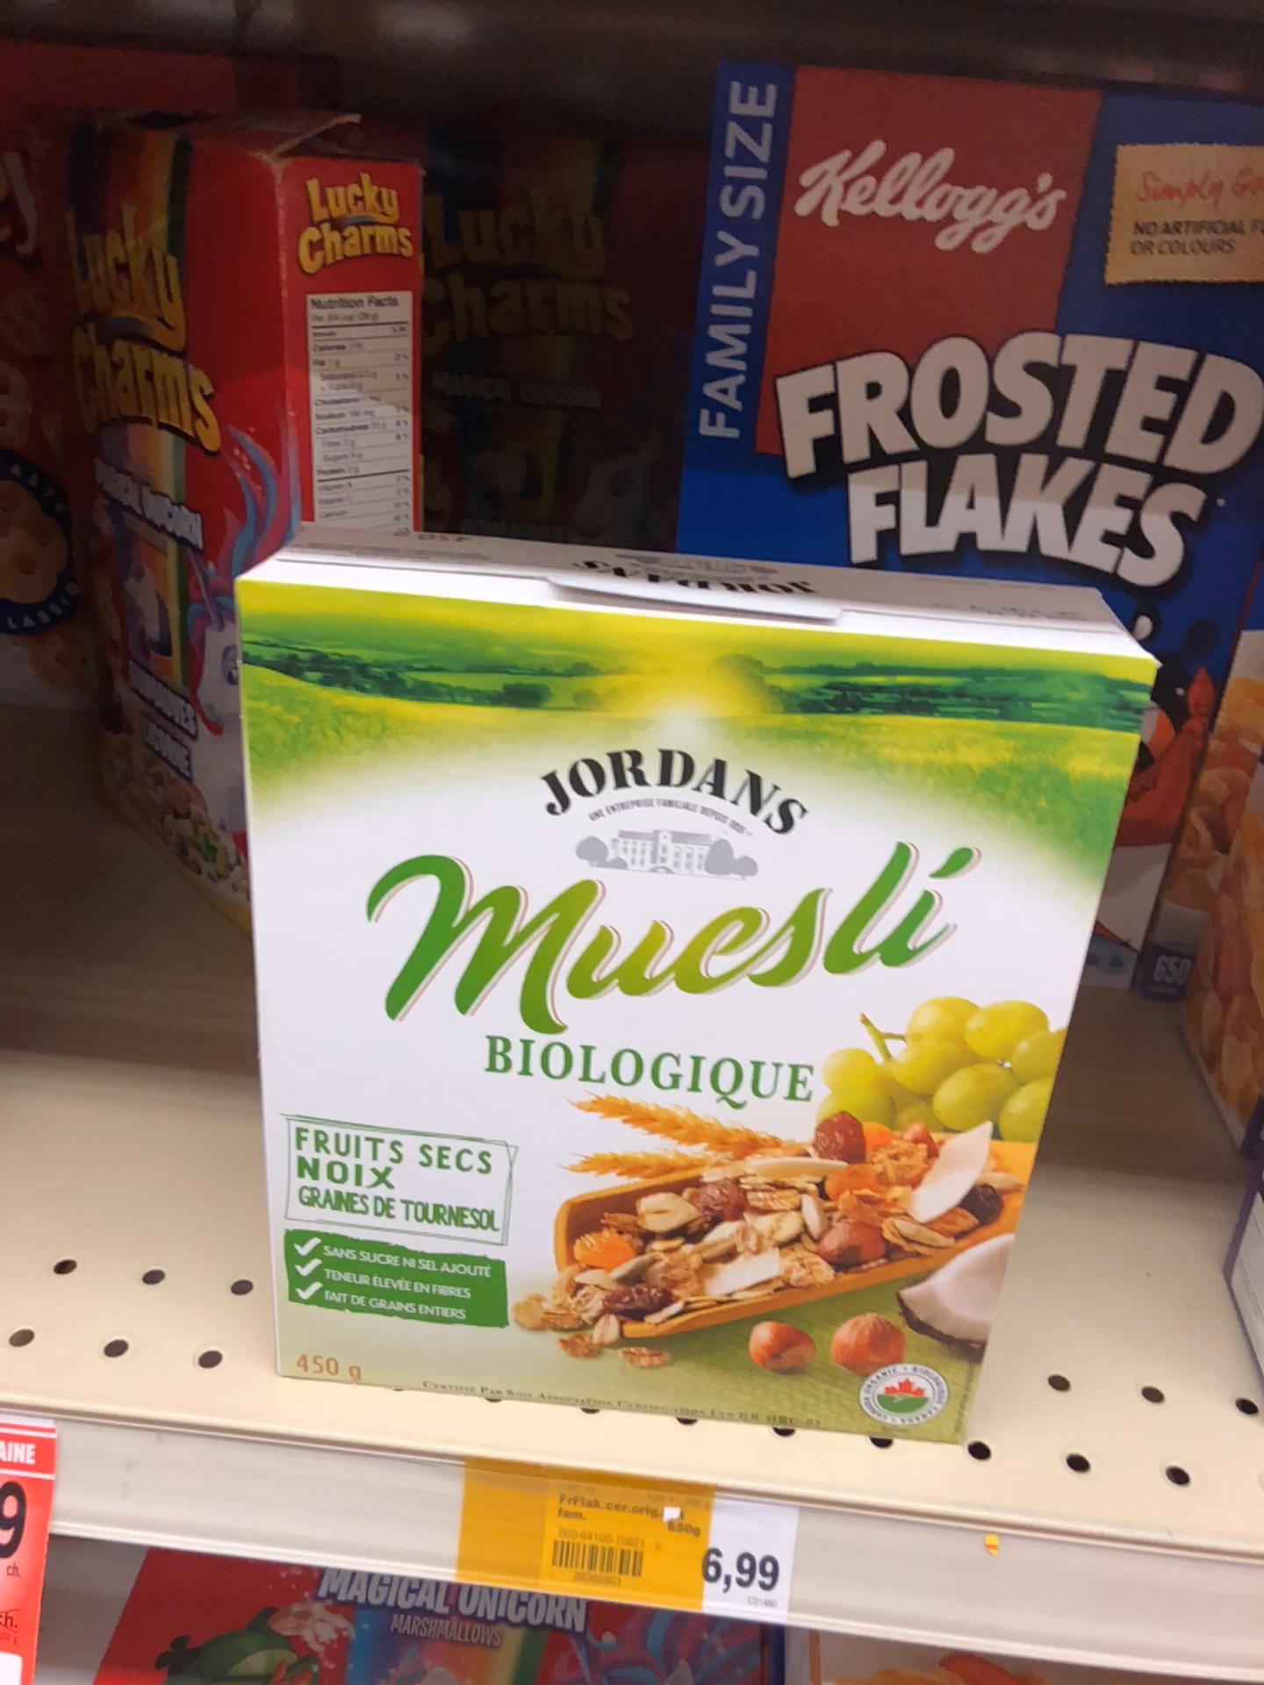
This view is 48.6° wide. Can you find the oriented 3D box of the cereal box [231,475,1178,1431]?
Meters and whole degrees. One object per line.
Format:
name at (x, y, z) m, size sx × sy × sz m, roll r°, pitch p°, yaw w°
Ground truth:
cereal box at (0.007, 0.035, 0.337) m, size 0.180 × 0.218 × 0.050 m, roll 6°, pitch 27°, yaw 1°
